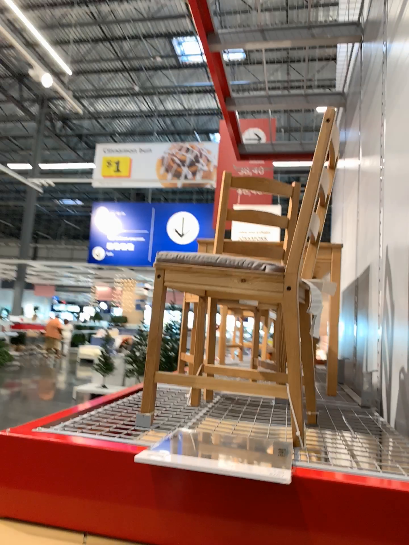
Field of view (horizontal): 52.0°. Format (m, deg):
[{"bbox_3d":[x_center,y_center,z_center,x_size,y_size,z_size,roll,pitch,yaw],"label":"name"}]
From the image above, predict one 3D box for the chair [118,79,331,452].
[{"bbox_3d":[0.111,-0.023,1.289,0.500,0.912,0.439,2,-8,16],"label":"chair"}]
